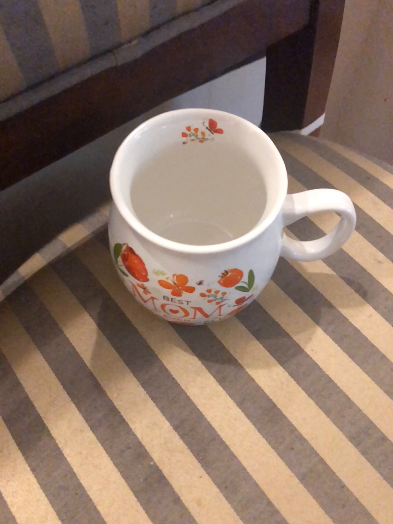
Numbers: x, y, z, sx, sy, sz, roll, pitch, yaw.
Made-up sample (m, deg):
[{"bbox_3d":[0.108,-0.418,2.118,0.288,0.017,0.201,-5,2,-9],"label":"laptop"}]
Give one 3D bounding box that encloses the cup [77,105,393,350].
[{"bbox_3d":[0.020,-0.017,0.254,0.140,0.090,0.110,1,60,1],"label":"cup"}]
